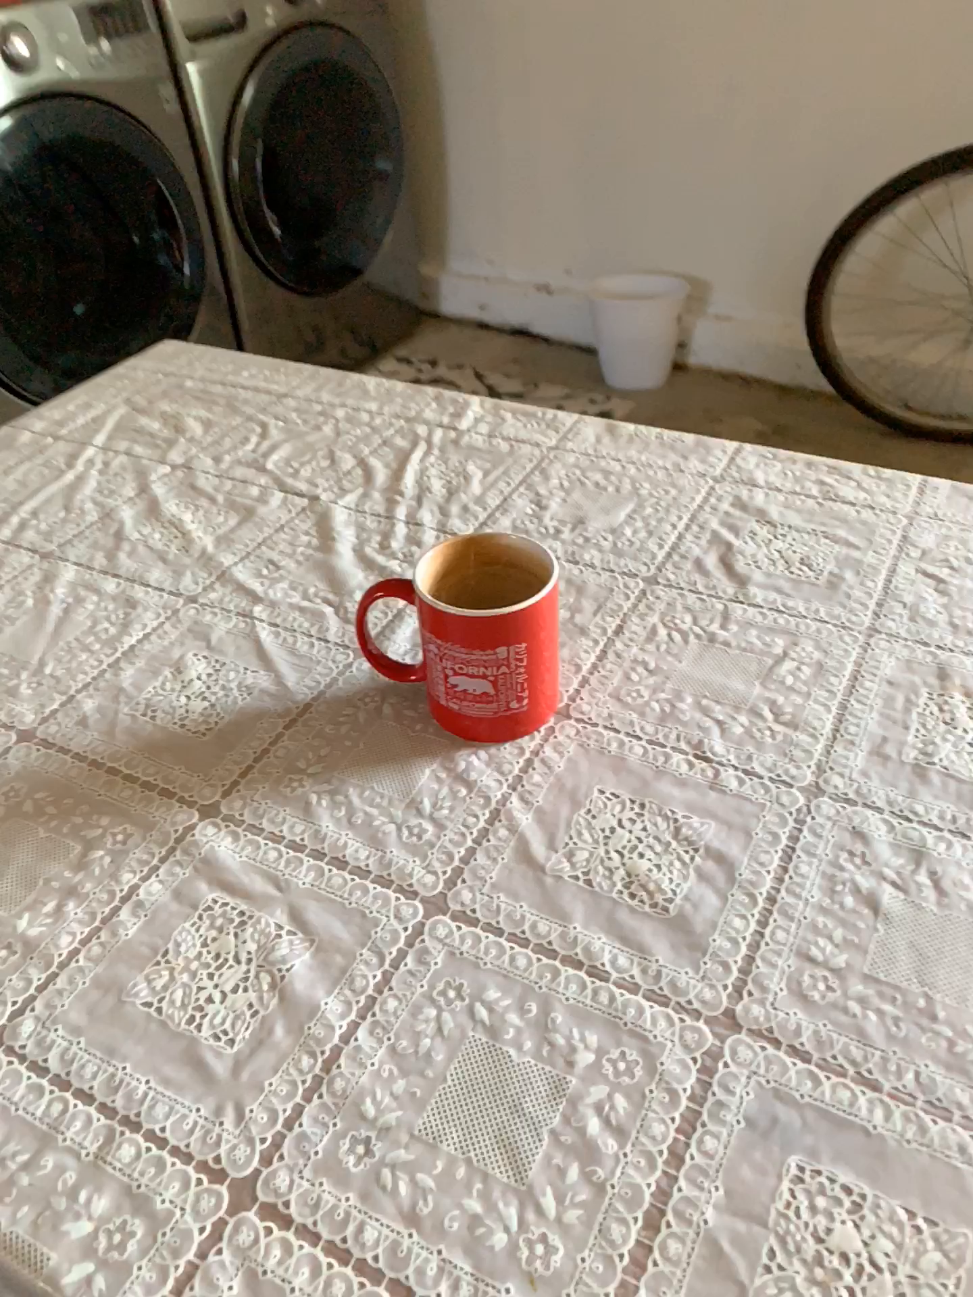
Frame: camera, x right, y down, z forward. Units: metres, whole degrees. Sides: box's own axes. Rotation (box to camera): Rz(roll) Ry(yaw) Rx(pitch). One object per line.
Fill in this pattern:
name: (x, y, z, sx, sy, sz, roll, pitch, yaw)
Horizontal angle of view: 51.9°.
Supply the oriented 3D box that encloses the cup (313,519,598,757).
cup: (-0.013, -0.010, 0.605, 0.140, 0.080, 0.100, 9, 42, 17)
